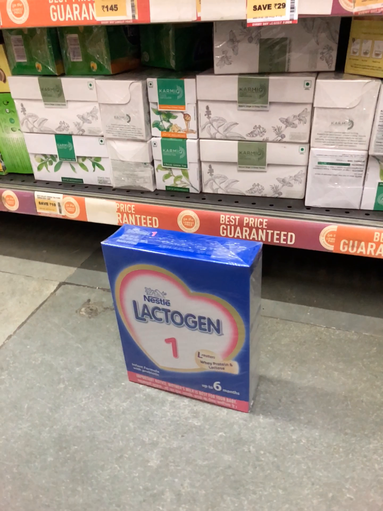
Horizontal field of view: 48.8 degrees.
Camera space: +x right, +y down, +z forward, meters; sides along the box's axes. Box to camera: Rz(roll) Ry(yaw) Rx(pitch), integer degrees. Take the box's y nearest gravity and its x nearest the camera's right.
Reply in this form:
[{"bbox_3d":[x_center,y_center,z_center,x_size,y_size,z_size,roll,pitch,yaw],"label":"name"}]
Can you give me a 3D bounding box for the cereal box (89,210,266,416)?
[{"bbox_3d":[-0.009,0.062,0.448,0.160,0.199,0.050,9,33,20],"label":"cereal box"}]
